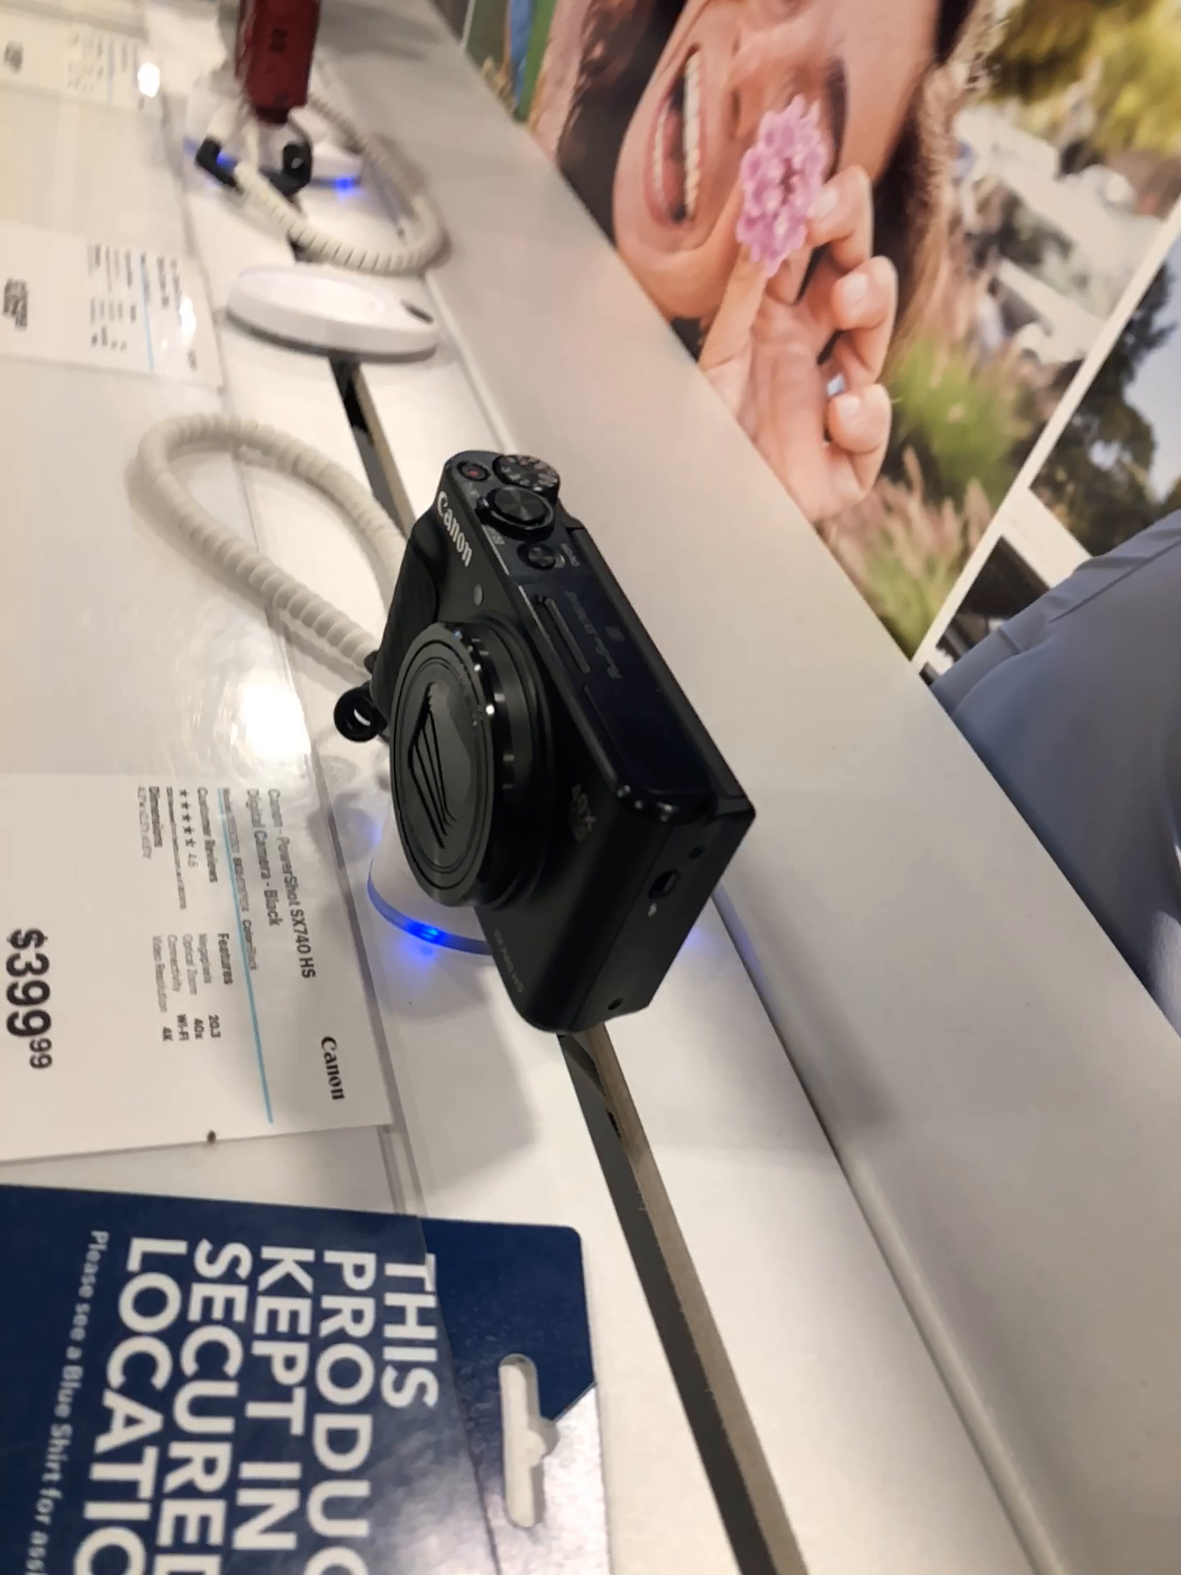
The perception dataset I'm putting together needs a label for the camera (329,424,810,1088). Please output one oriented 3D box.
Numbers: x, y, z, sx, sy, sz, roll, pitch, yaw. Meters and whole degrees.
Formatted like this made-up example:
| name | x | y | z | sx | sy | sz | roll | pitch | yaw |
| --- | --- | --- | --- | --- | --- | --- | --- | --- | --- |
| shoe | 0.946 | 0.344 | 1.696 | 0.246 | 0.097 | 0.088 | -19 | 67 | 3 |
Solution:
| name | x | y | z | sx | sy | sz | roll | pitch | yaw |
| --- | --- | --- | --- | --- | --- | --- | --- | --- | --- |
| camera | -0.013 | -0.011 | 0.272 | 0.040 | 0.070 | 0.120 | -3 | 45 | -29 |
